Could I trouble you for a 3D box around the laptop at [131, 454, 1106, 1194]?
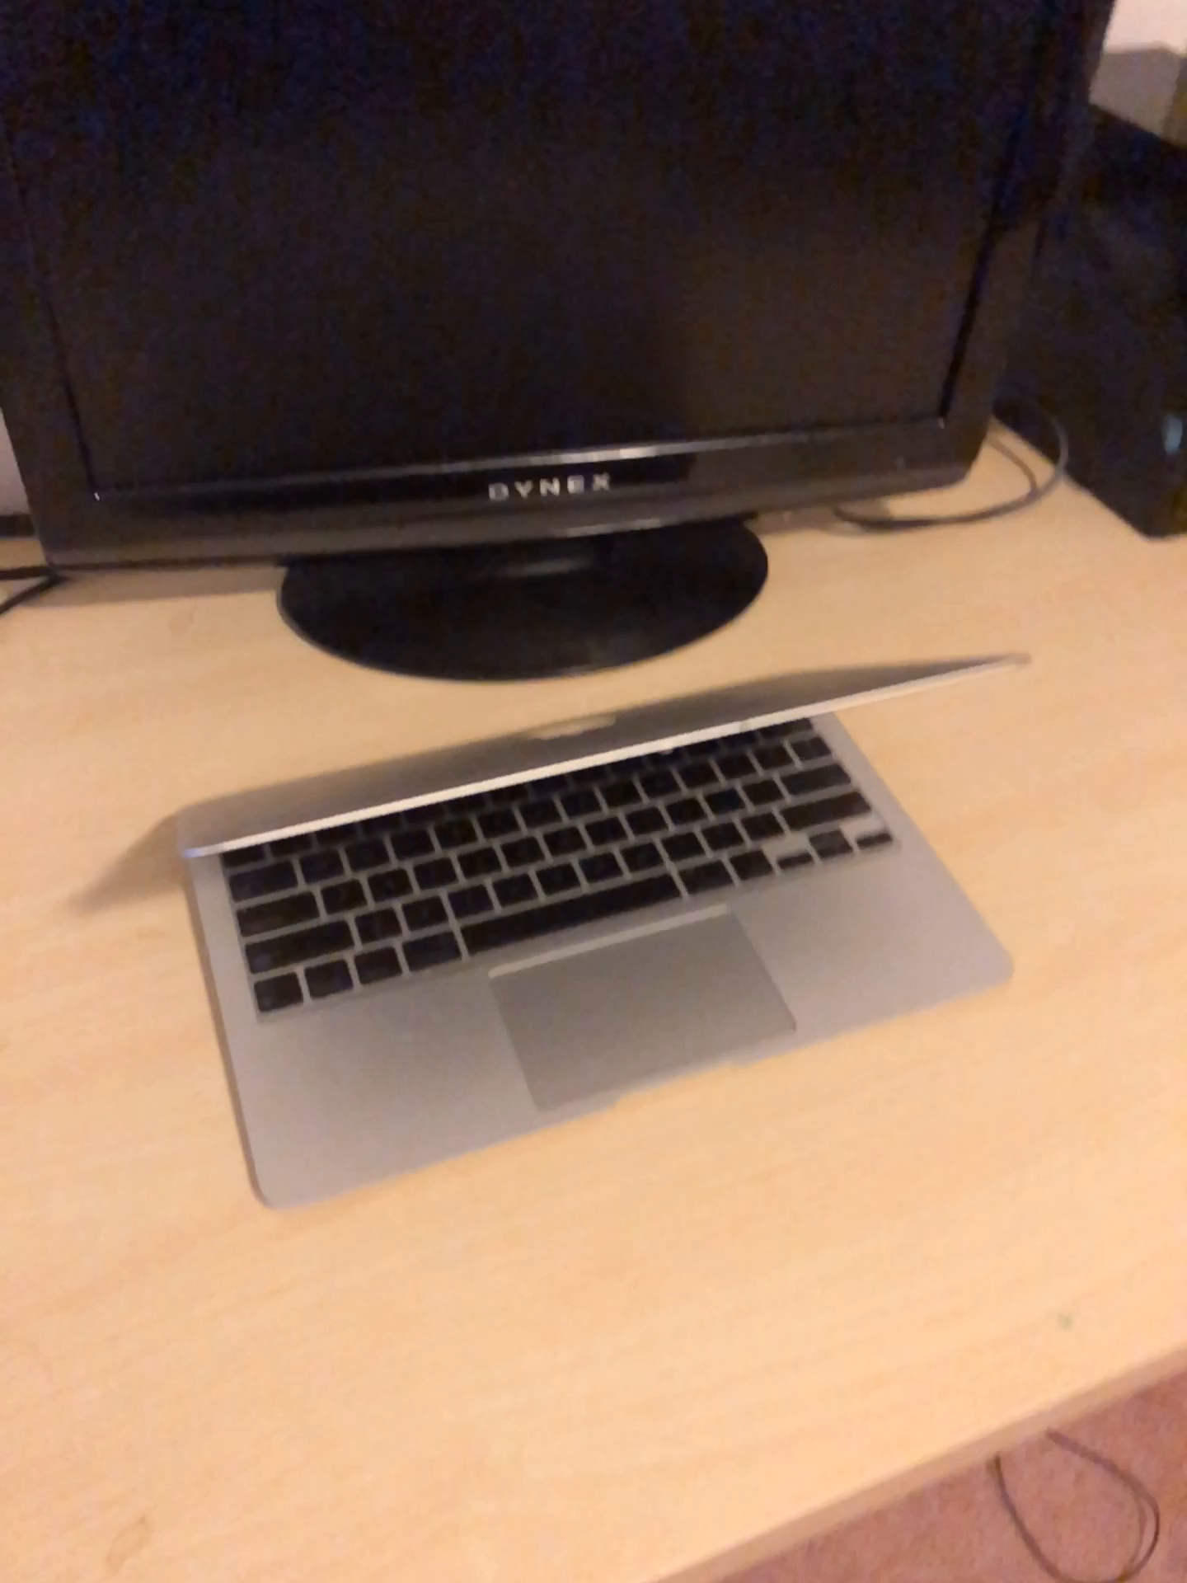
[{"bbox_3d":[-0.003,-0.004,0.494,0.287,0.127,0.190,-13,46,-16],"label":"laptop"}]
